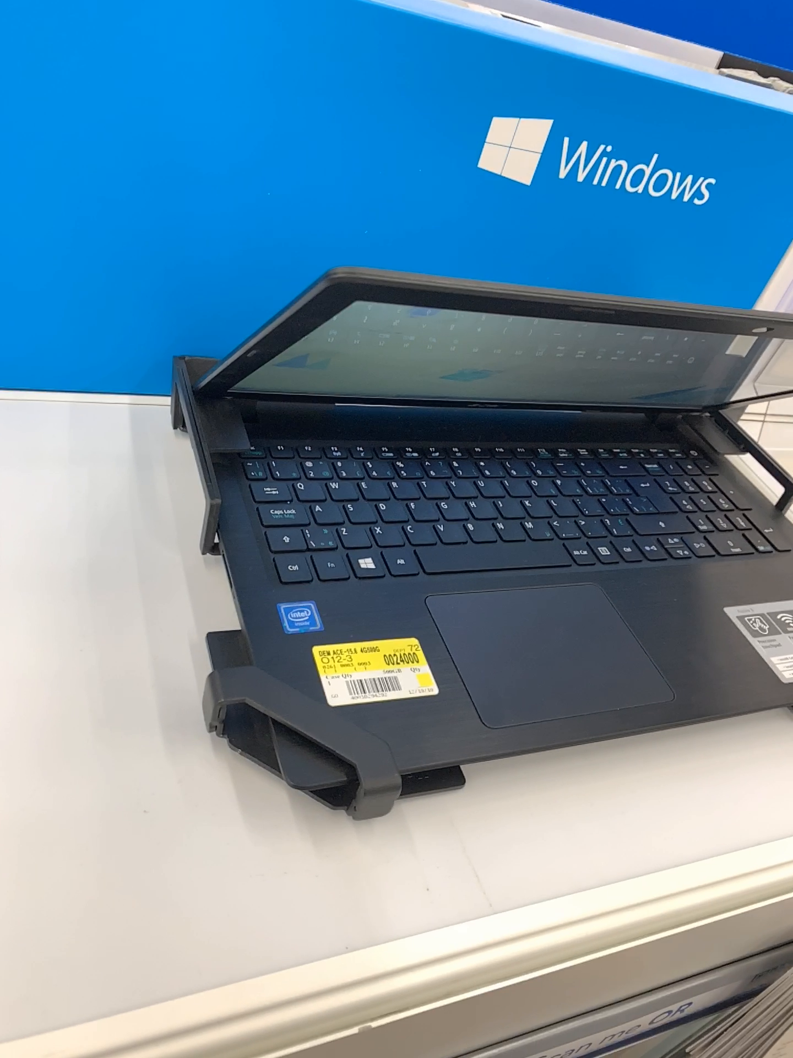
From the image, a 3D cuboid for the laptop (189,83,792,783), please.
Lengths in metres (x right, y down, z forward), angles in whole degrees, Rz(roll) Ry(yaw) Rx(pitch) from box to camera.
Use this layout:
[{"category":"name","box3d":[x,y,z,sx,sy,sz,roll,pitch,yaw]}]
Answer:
[{"category":"laptop","box3d":[0.104,-0.055,0.378,0.345,0.157,0.233,-2,42,-24]}]
